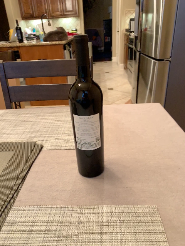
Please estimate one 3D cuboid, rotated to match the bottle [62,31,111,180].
[{"bbox_3d":[-0.004,-0.027,0.437,0.083,0.328,0.090,-3,27,1],"label":"bottle"}]
